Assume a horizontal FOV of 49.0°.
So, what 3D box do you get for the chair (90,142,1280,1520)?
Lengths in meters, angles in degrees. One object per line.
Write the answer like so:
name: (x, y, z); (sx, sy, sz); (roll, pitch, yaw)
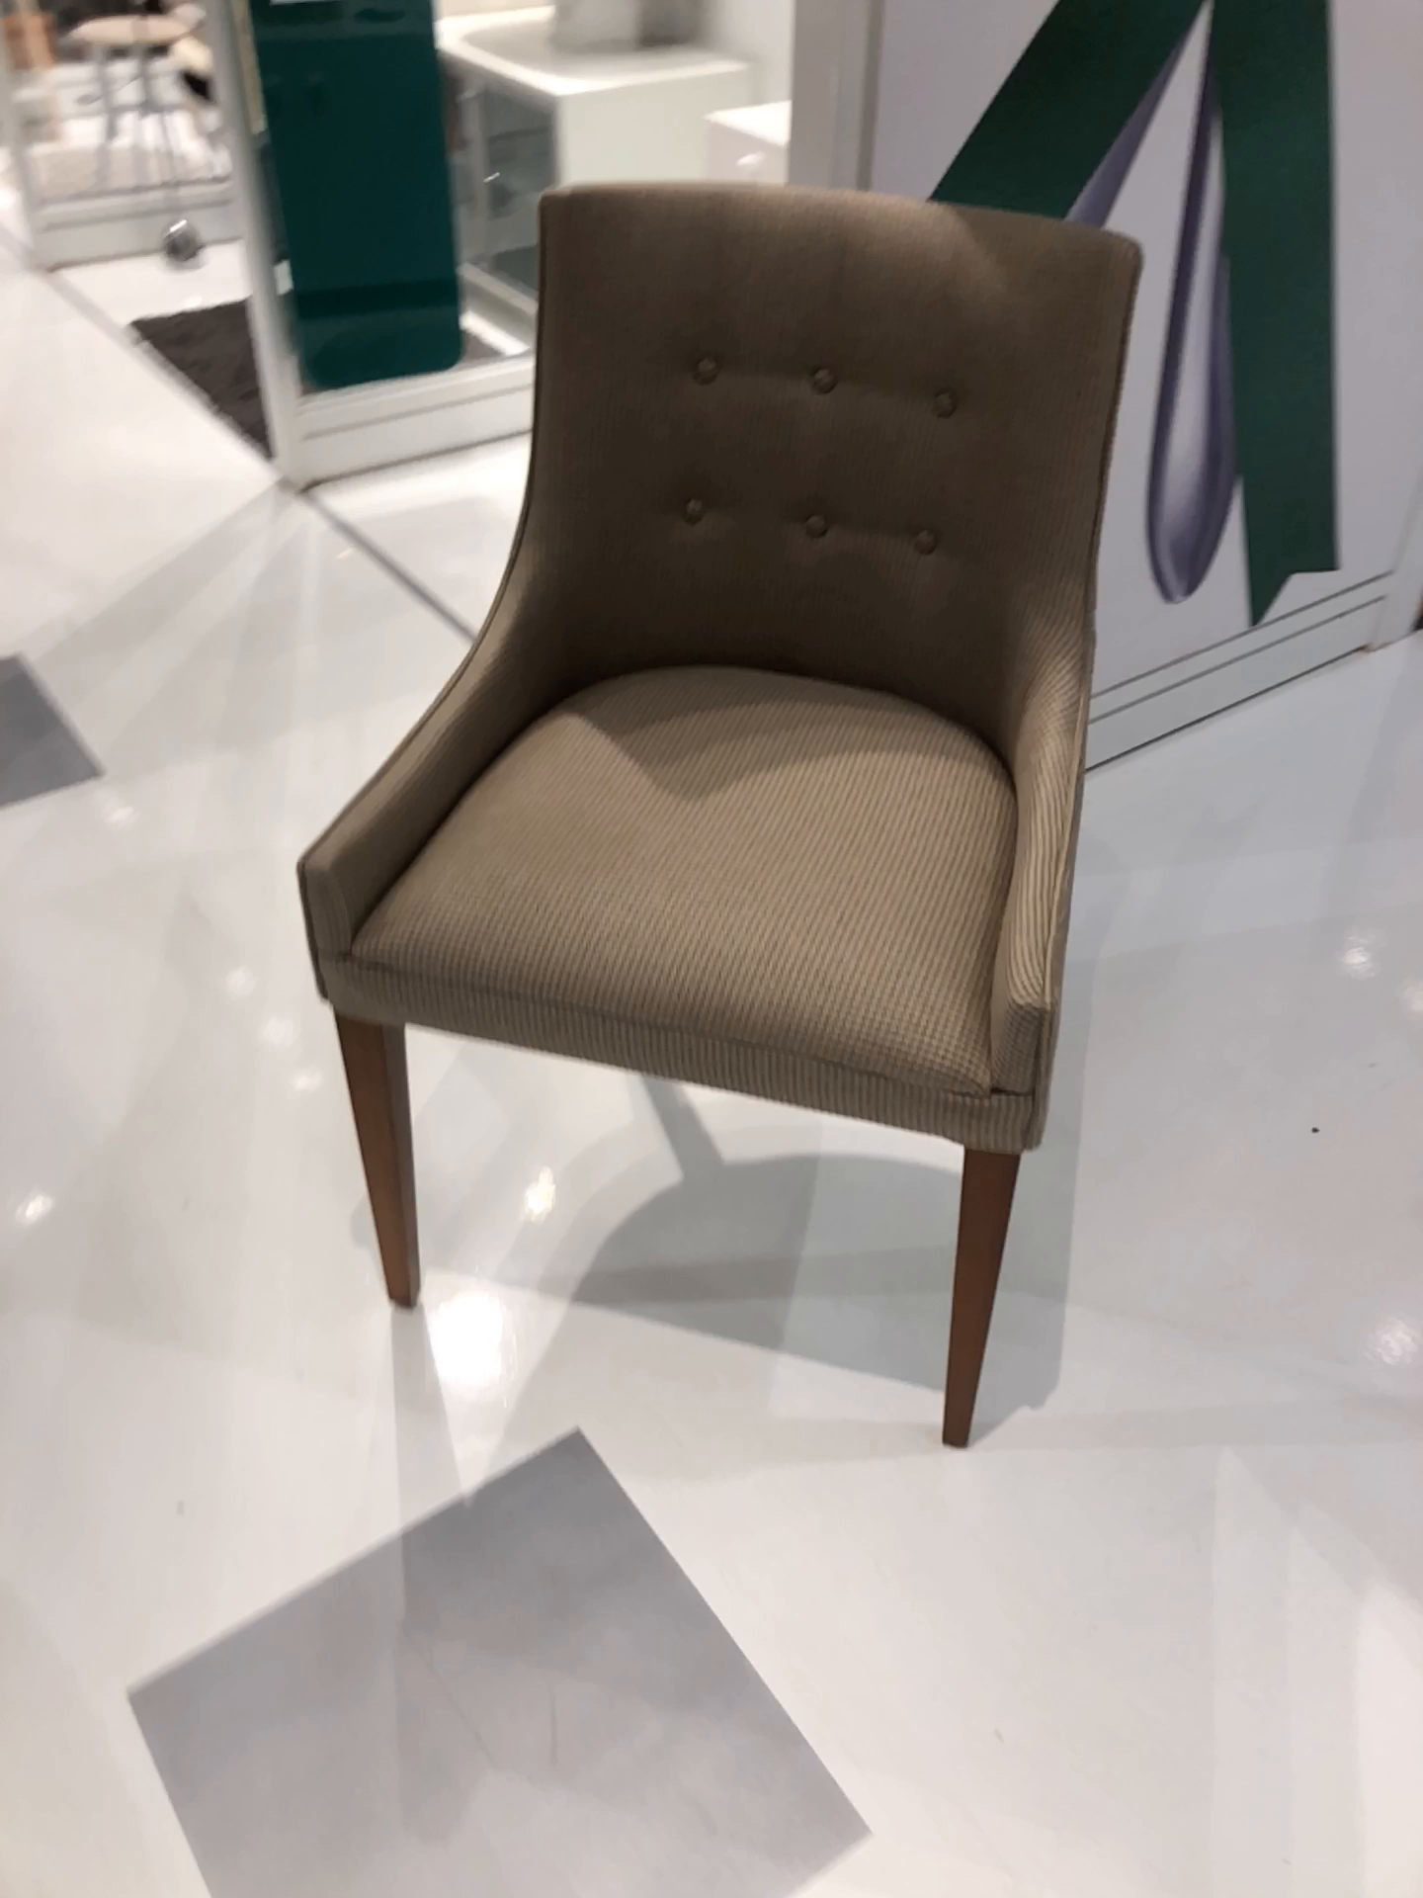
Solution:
chair: (0.035, -0.109, 1.236); (0.590, 0.794, 0.595); (12, 41, 13)
